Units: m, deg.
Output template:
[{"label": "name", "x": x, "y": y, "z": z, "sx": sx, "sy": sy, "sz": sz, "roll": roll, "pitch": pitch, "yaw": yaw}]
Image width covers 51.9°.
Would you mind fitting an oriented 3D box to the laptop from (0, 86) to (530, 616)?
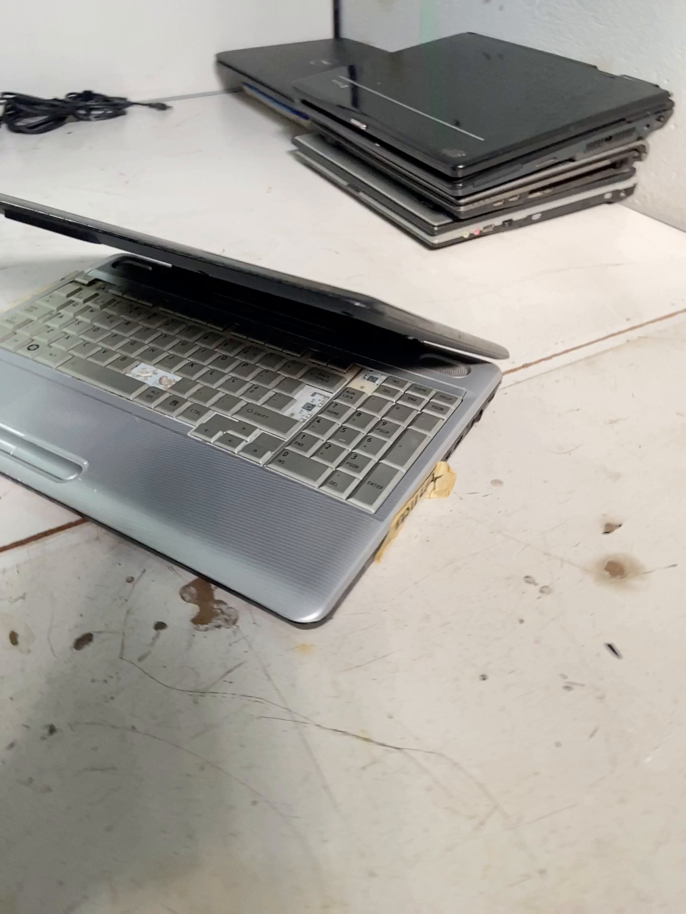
[{"label": "laptop", "x": -0.114, "y": -0.110, "z": 0.460, "sx": 0.372, "sy": 0.143, "sz": 0.257, "roll": 21, "pitch": 46, "yaw": 23}]
